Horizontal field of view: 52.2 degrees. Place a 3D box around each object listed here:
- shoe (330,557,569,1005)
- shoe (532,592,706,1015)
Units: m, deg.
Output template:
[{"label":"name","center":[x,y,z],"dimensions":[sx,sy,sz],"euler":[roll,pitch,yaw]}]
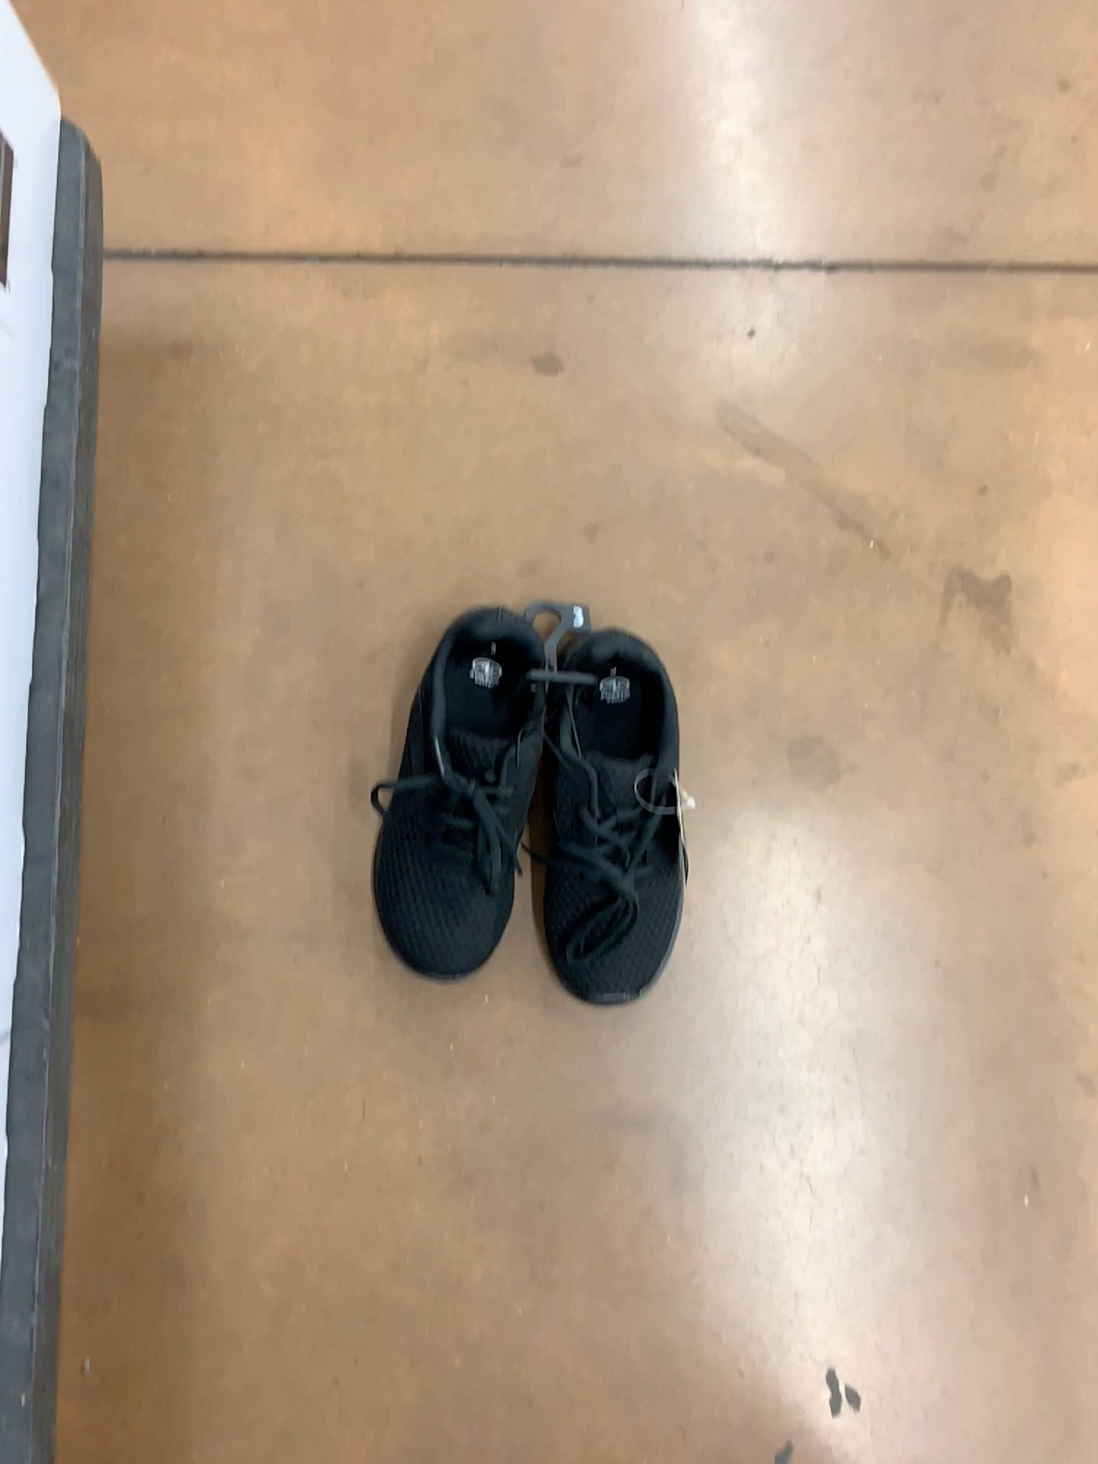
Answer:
[{"label":"shoe","center":[-0.053,0.029,0.642],"dimensions":[0.090,0.080,0.230],"euler":[9,81,-1]},{"label":"shoe","center":[0.037,0.042,0.650],"dimensions":[0.090,0.080,0.230],"euler":[0,82,-3]}]
